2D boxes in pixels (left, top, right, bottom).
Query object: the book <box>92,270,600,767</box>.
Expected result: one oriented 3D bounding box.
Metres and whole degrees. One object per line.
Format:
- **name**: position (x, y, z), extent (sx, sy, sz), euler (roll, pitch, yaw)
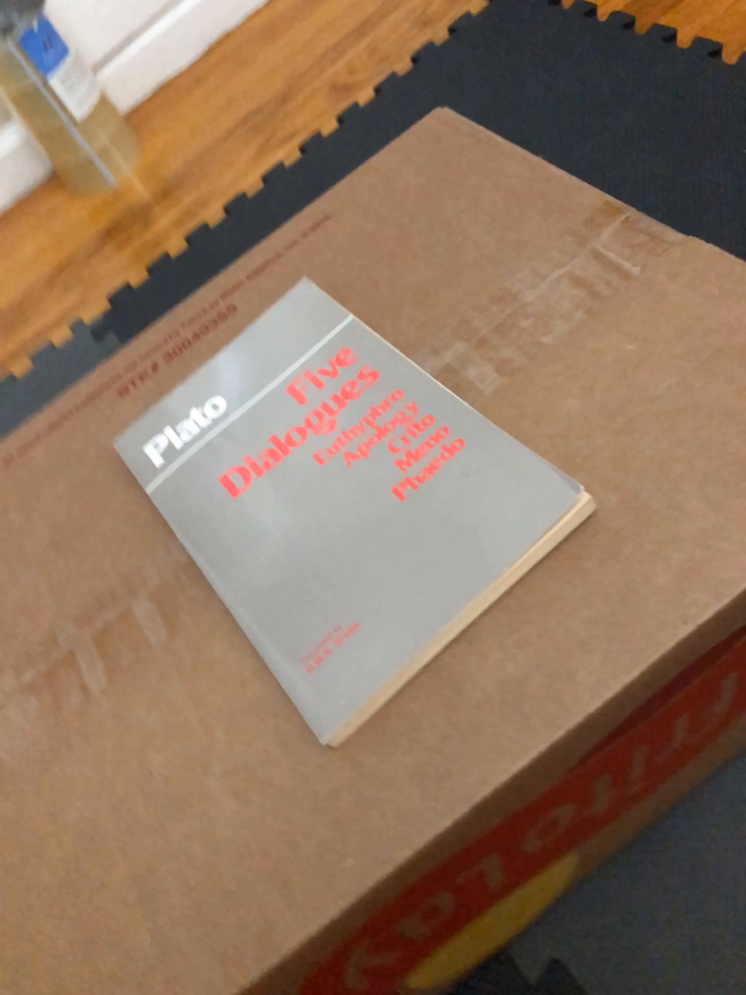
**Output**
- **book**: position (-0.029, -0.011, 0.379), extent (0.140, 0.020, 0.221), euler (-42, 52, -5)
